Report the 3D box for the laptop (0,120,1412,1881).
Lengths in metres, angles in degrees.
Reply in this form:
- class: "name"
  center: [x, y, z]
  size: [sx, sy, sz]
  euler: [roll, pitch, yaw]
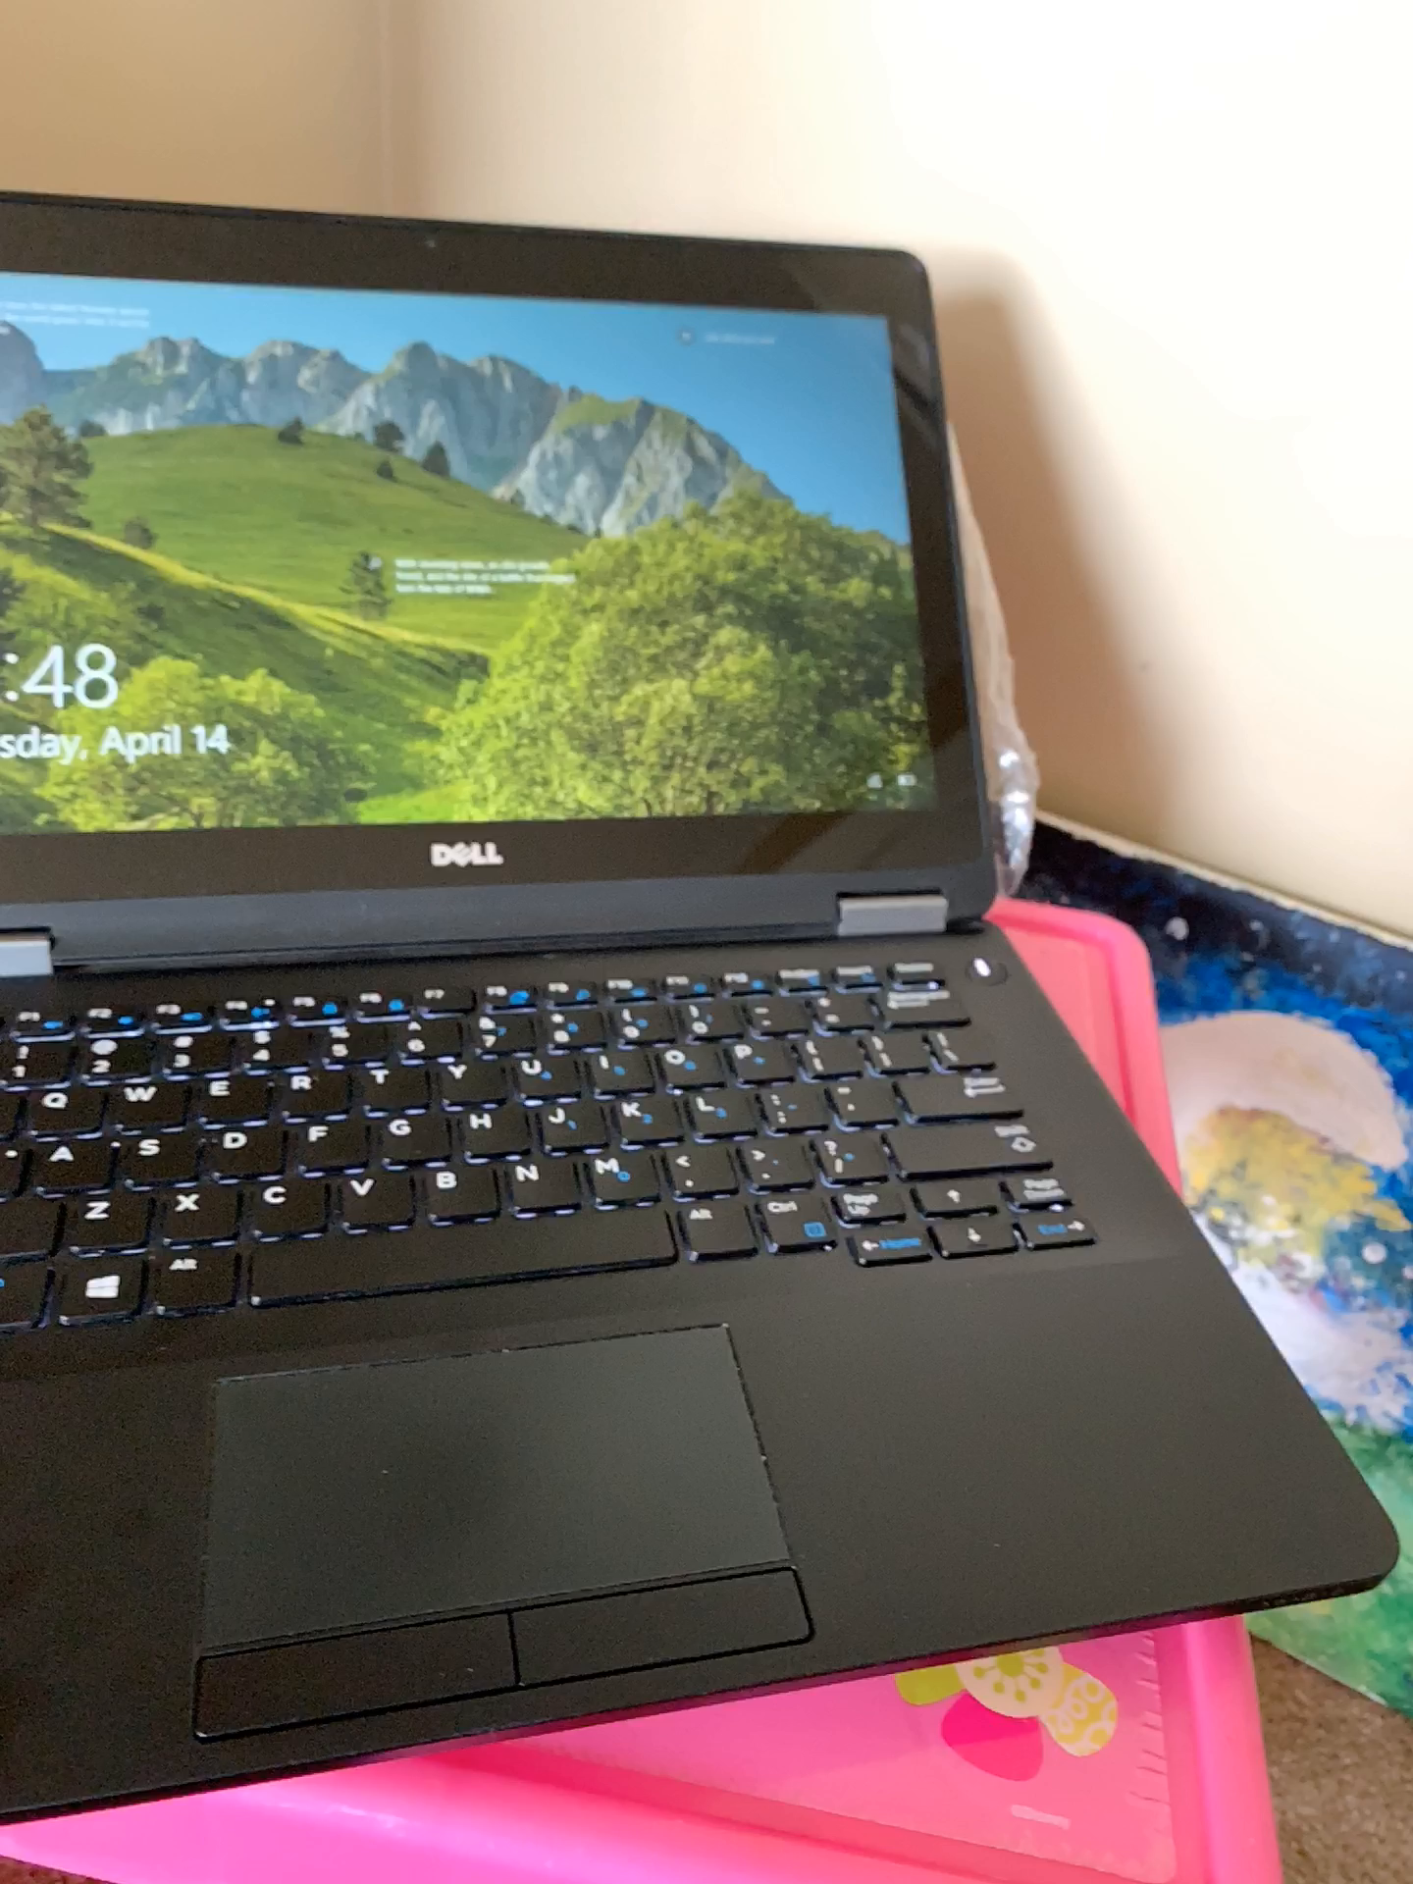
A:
- class: "laptop"
  center: [-0.041, -0.041, 0.283]
  size: [0.261, 0.121, 0.302]
  euler: [-3, 41, -14]
